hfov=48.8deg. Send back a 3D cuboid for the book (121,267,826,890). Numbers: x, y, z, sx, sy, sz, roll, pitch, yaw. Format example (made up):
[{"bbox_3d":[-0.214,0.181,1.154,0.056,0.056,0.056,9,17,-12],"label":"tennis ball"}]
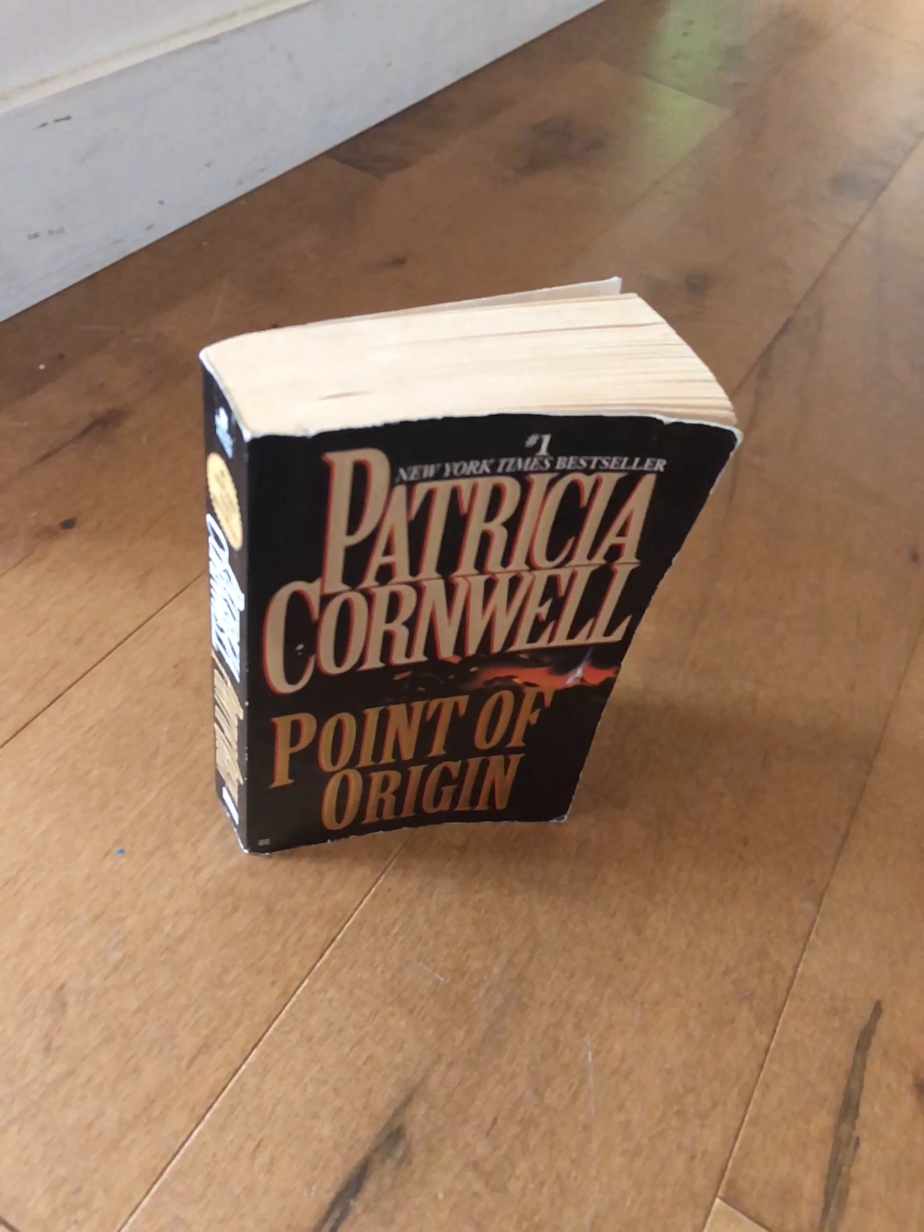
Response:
[{"bbox_3d":[-0.008,-0.001,0.259,0.130,0.159,0.050,-9,54,-18],"label":"book"}]
